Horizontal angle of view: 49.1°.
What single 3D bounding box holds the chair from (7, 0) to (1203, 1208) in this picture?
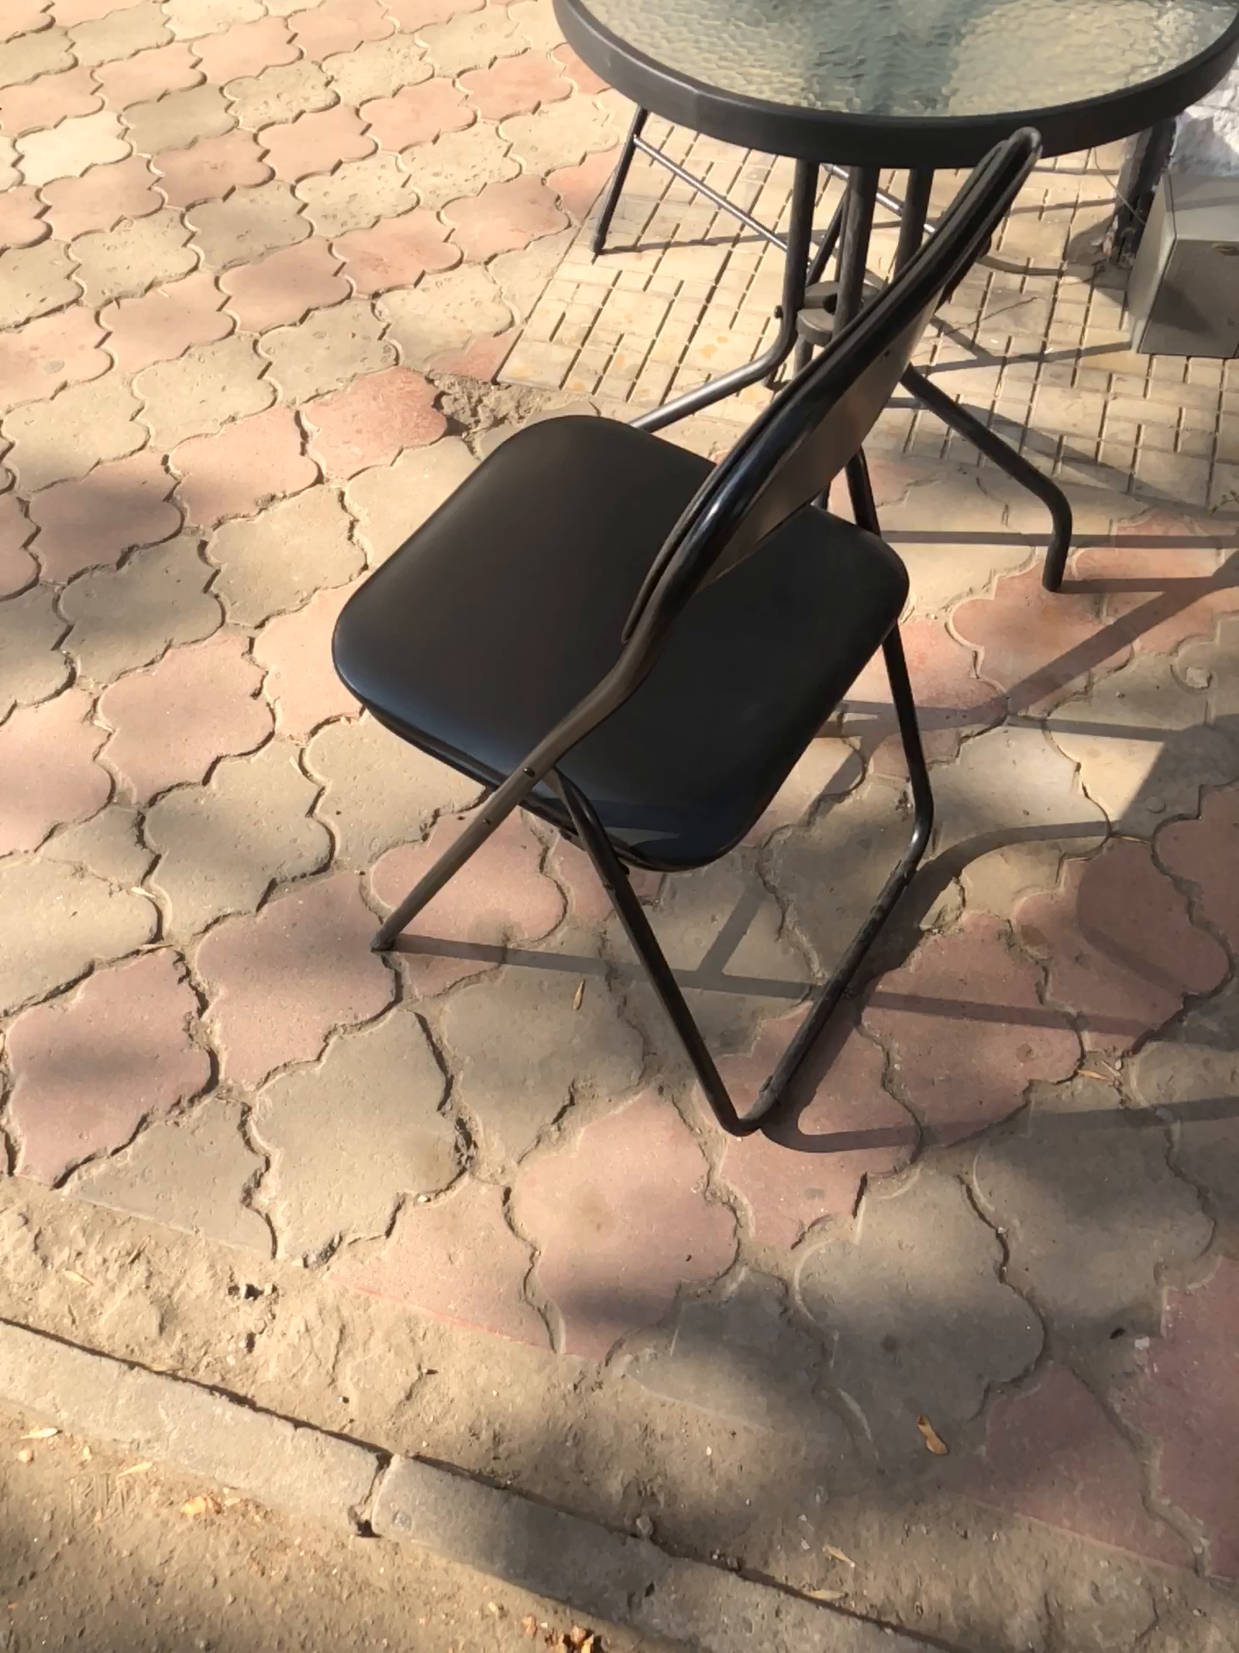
[{"bbox_3d":[0.020,-0.166,1.055,0.500,0.638,0.531,26,58,18],"label":"chair"}]
